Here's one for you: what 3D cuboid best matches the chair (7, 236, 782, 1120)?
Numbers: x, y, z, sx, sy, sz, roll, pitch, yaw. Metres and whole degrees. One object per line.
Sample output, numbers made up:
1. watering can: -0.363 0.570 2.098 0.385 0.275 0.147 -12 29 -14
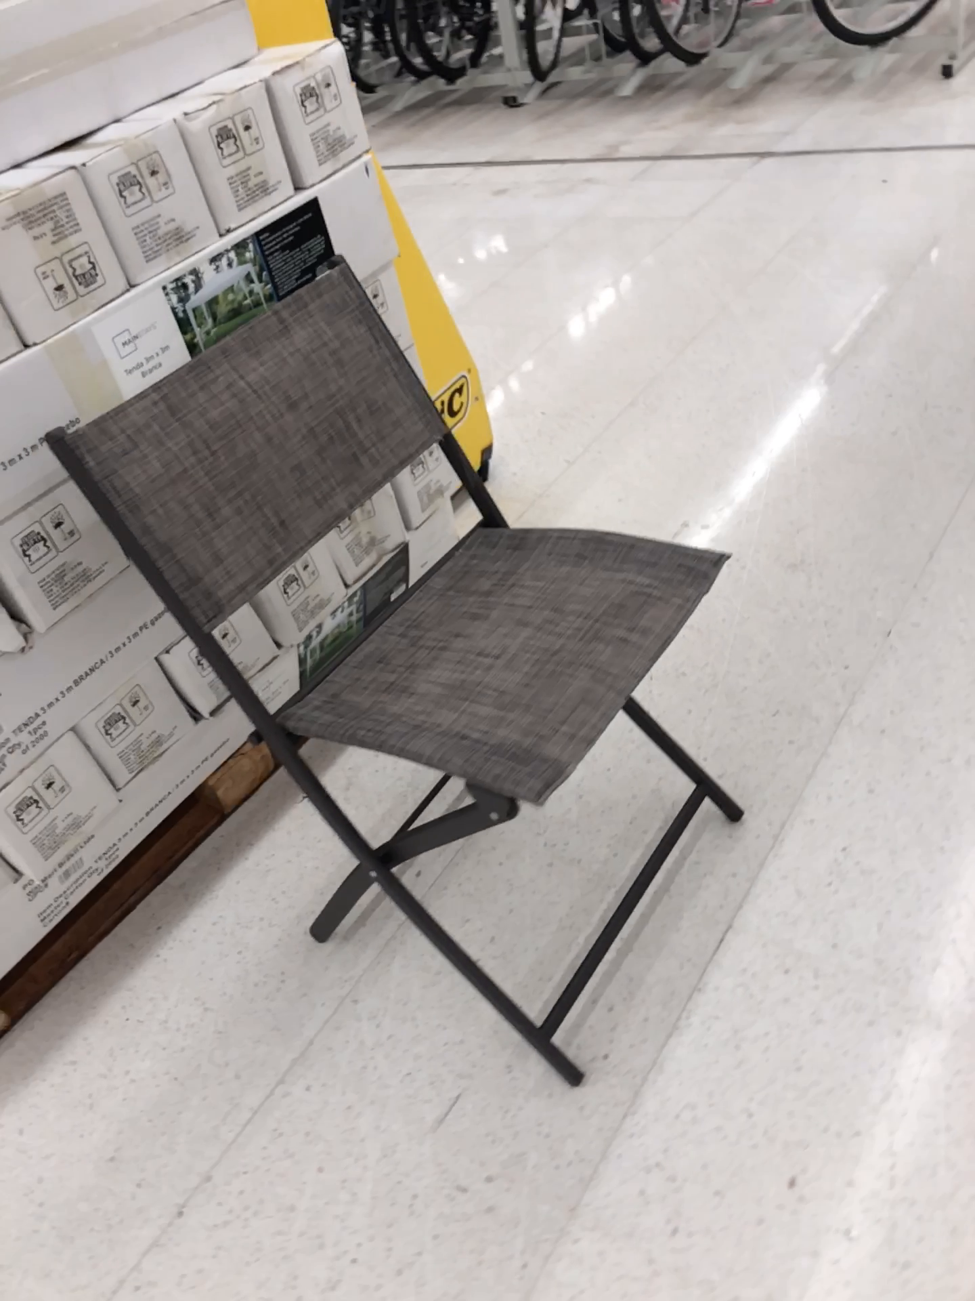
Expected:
1. chair: -0.020 0.007 1.218 0.502 0.754 0.512 15 46 34
